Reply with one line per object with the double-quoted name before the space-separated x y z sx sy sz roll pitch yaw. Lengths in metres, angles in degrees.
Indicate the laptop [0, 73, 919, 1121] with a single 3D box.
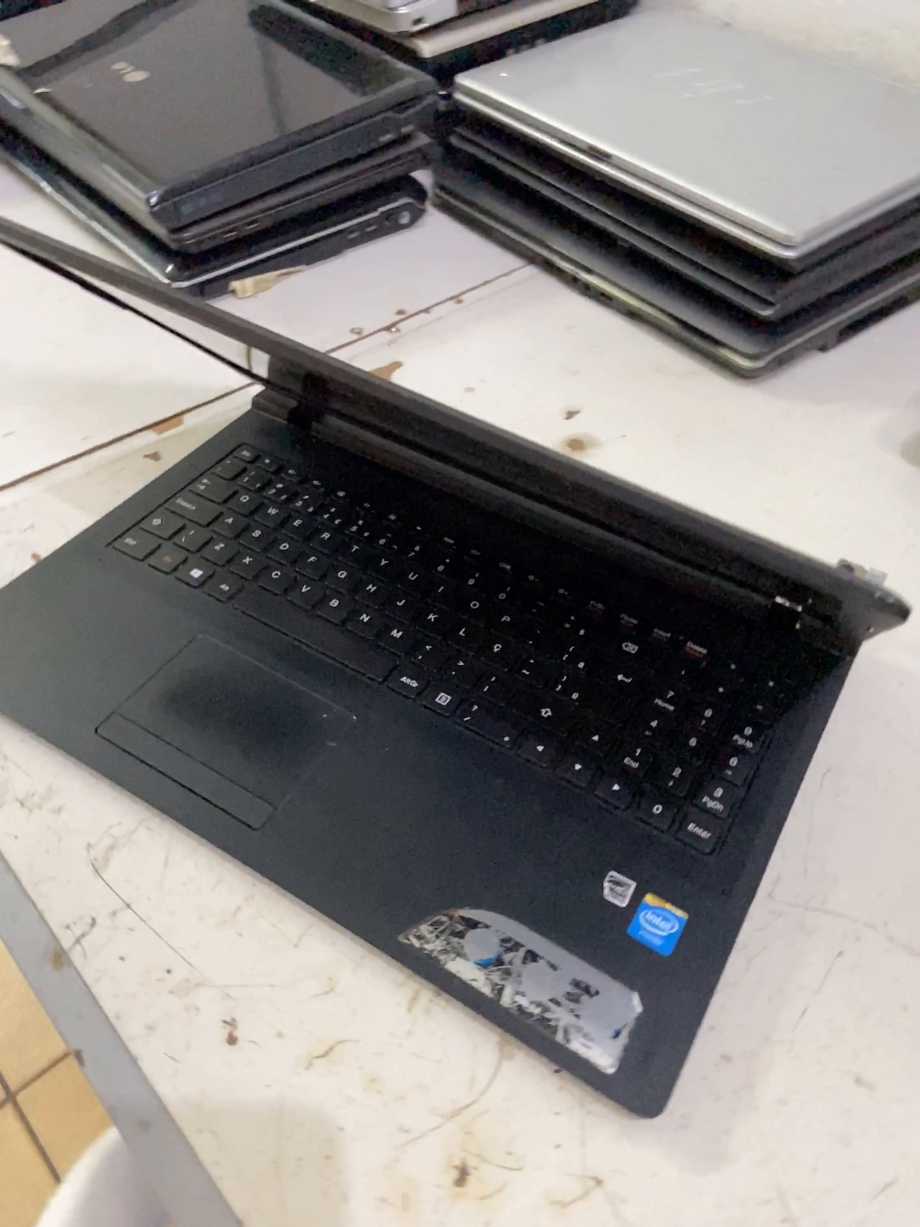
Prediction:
"laptop" -0.025 -0.046 0.391 0.376 0.189 0.259 25 51 20
